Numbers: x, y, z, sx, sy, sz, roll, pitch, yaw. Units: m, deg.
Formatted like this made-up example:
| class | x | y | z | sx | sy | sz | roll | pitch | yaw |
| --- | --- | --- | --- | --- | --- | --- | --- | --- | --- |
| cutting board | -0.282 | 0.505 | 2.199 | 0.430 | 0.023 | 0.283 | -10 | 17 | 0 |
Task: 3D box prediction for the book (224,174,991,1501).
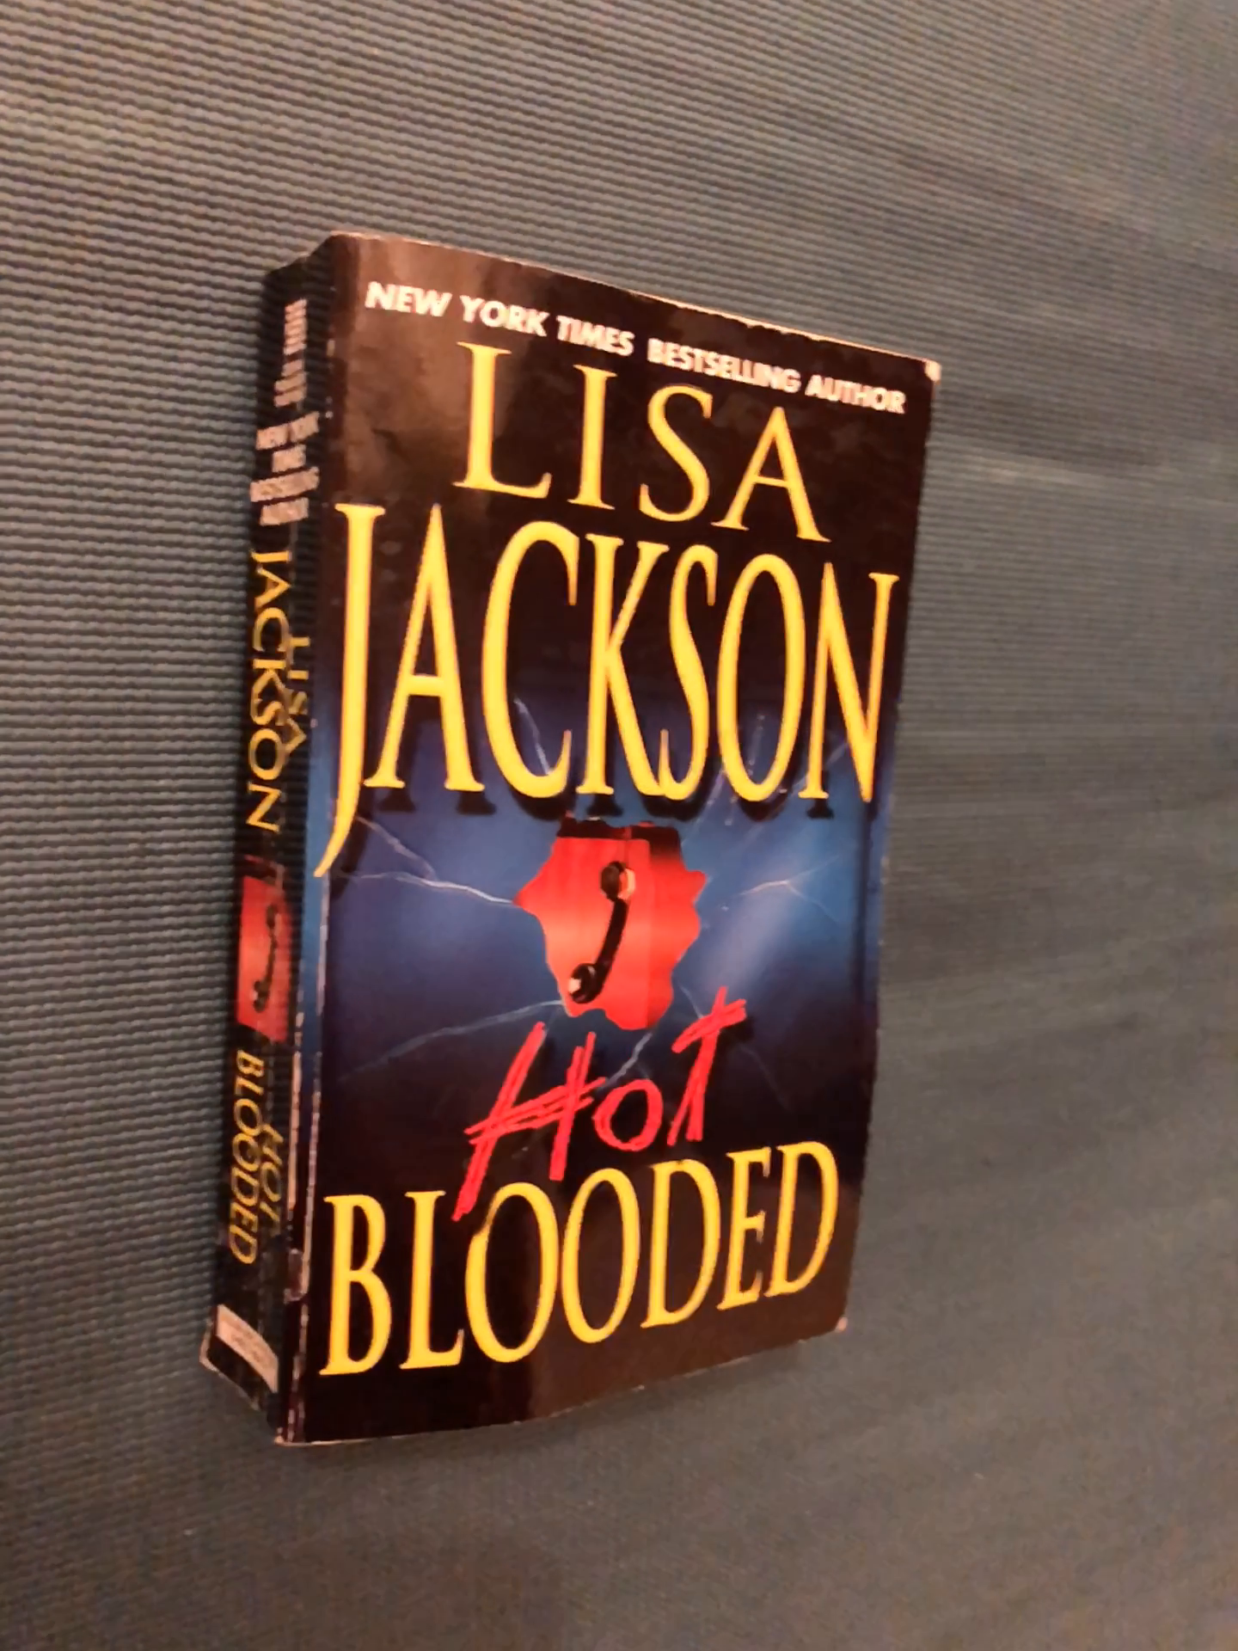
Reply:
| class | x | y | z | sx | sy | sz | roll | pitch | yaw |
| --- | --- | --- | --- | --- | --- | --- | --- | --- | --- |
| book | -0.002 | 0.004 | 0.218 | 0.103 | 0.040 | 0.171 | 1 | 95 | -28 |
